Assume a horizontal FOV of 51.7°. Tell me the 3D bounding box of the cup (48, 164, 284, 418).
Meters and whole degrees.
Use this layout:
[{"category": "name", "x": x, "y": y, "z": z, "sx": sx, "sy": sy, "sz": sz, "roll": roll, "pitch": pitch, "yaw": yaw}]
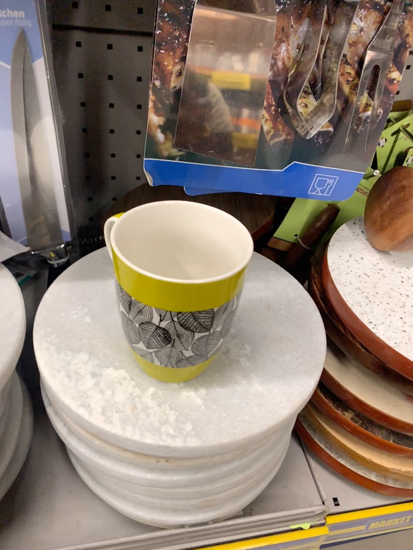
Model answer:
[{"category": "cup", "x": -0.029, "y": 0.004, "z": 0.267, "sx": 0.080, "sy": 0.090, "sz": 0.110, "roll": -28, "pitch": 52, "yaw": -35}]
